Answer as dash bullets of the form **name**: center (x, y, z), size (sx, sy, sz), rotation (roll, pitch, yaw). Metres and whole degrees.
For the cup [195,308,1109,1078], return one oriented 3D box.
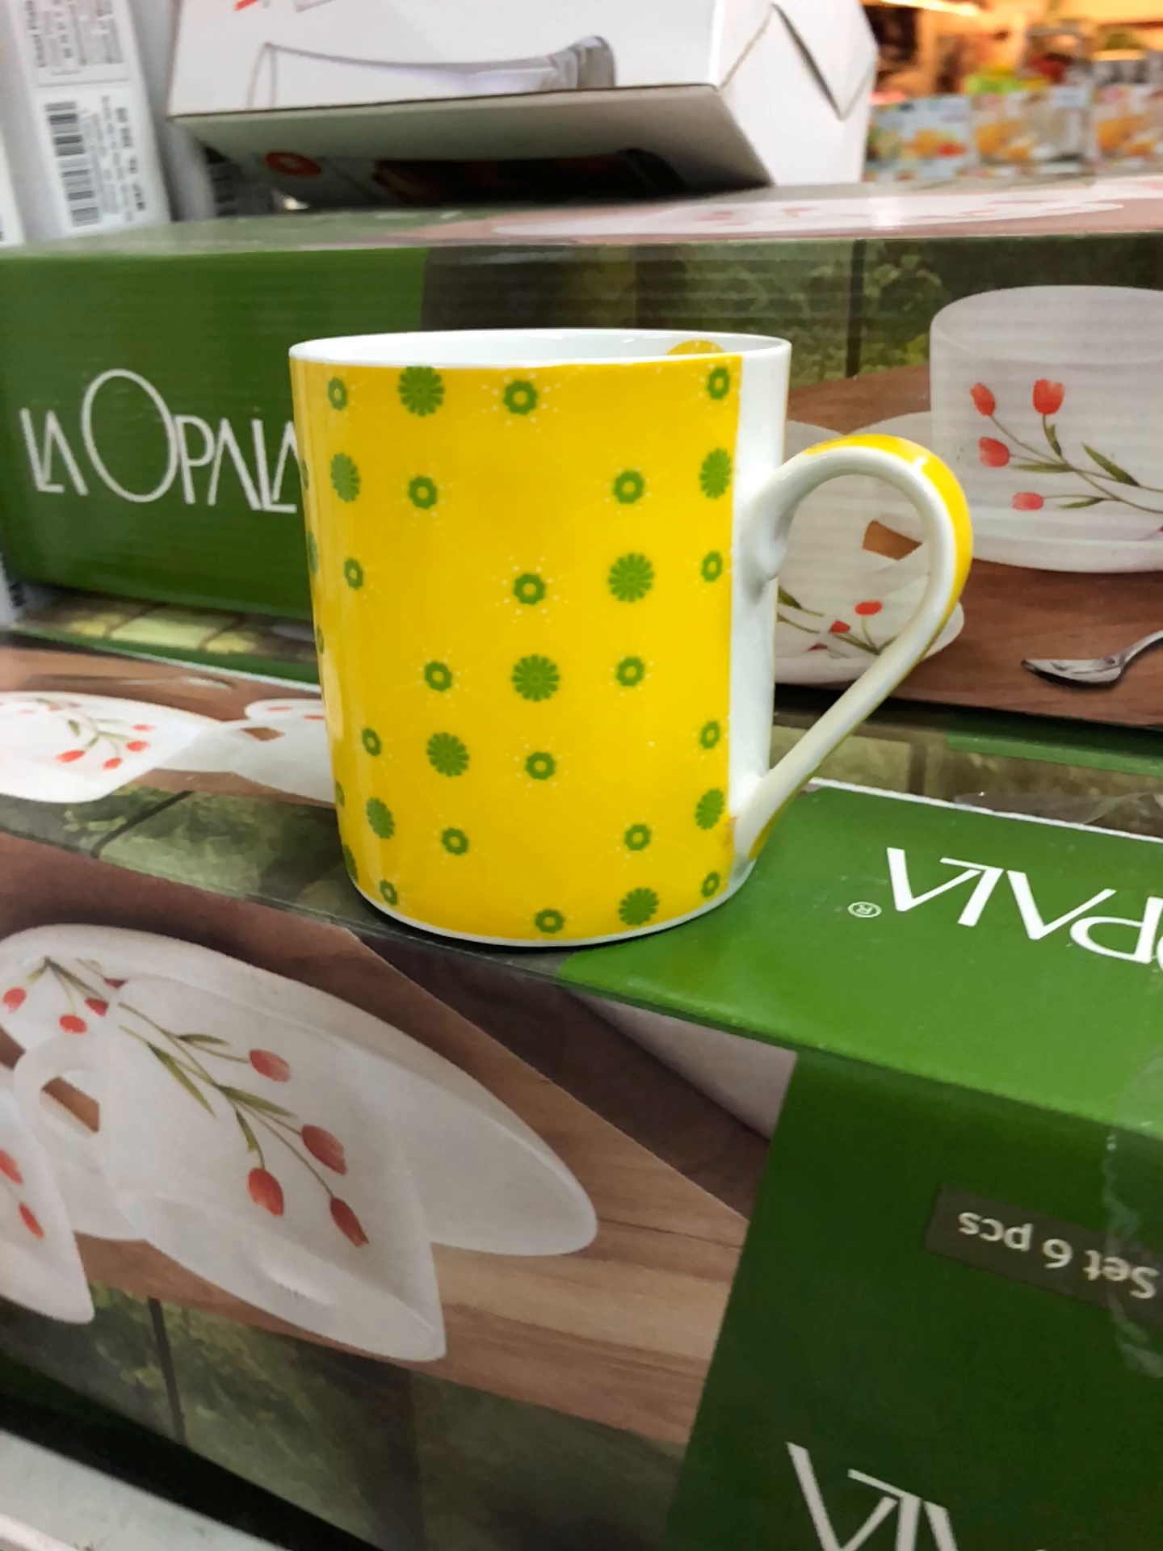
- **cup**: center (0.014, -0.025, 0.205), size (0.110, 0.090, 0.080), rotation (10, 22, 25)
